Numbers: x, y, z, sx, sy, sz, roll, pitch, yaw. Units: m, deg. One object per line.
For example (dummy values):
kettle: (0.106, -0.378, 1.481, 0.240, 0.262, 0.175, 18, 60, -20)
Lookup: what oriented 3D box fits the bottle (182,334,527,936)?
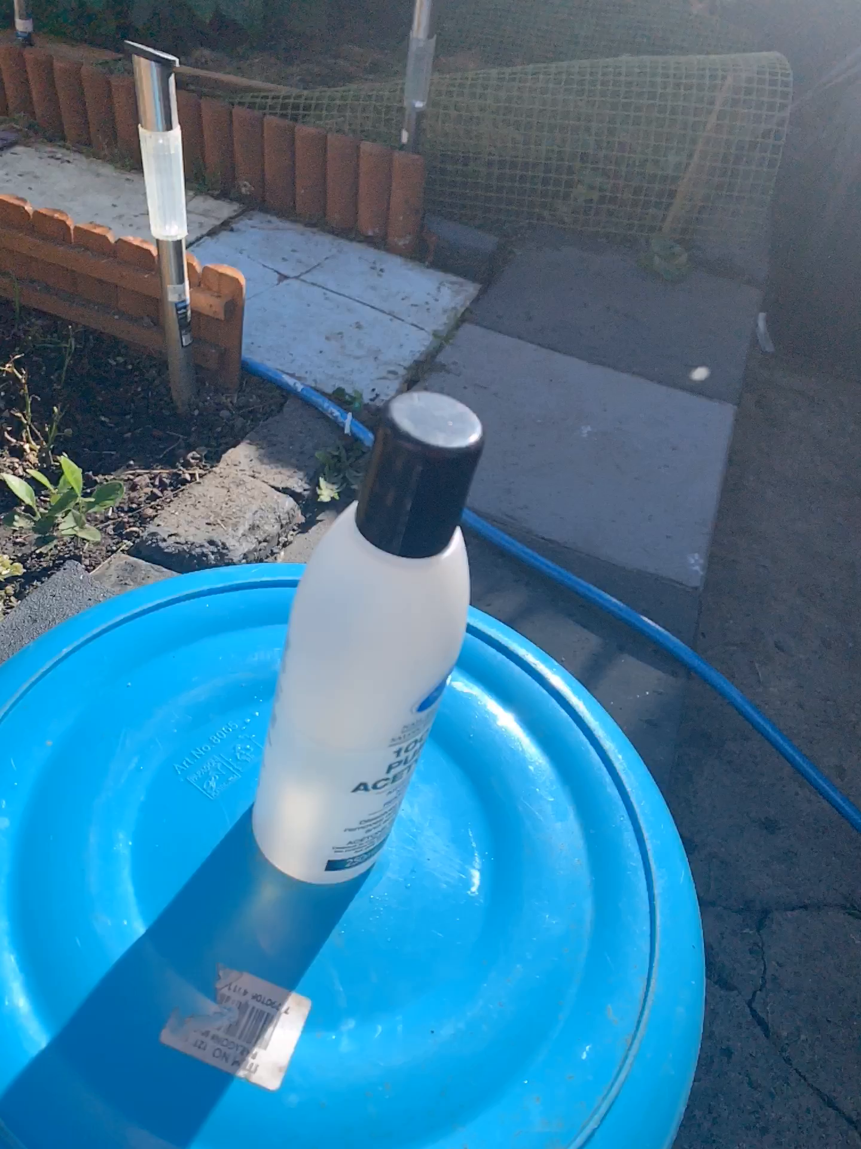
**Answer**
bottle: (-0.029, 0.029, 0.269, 0.060, 0.178, 0.060, 7, 42, -6)
